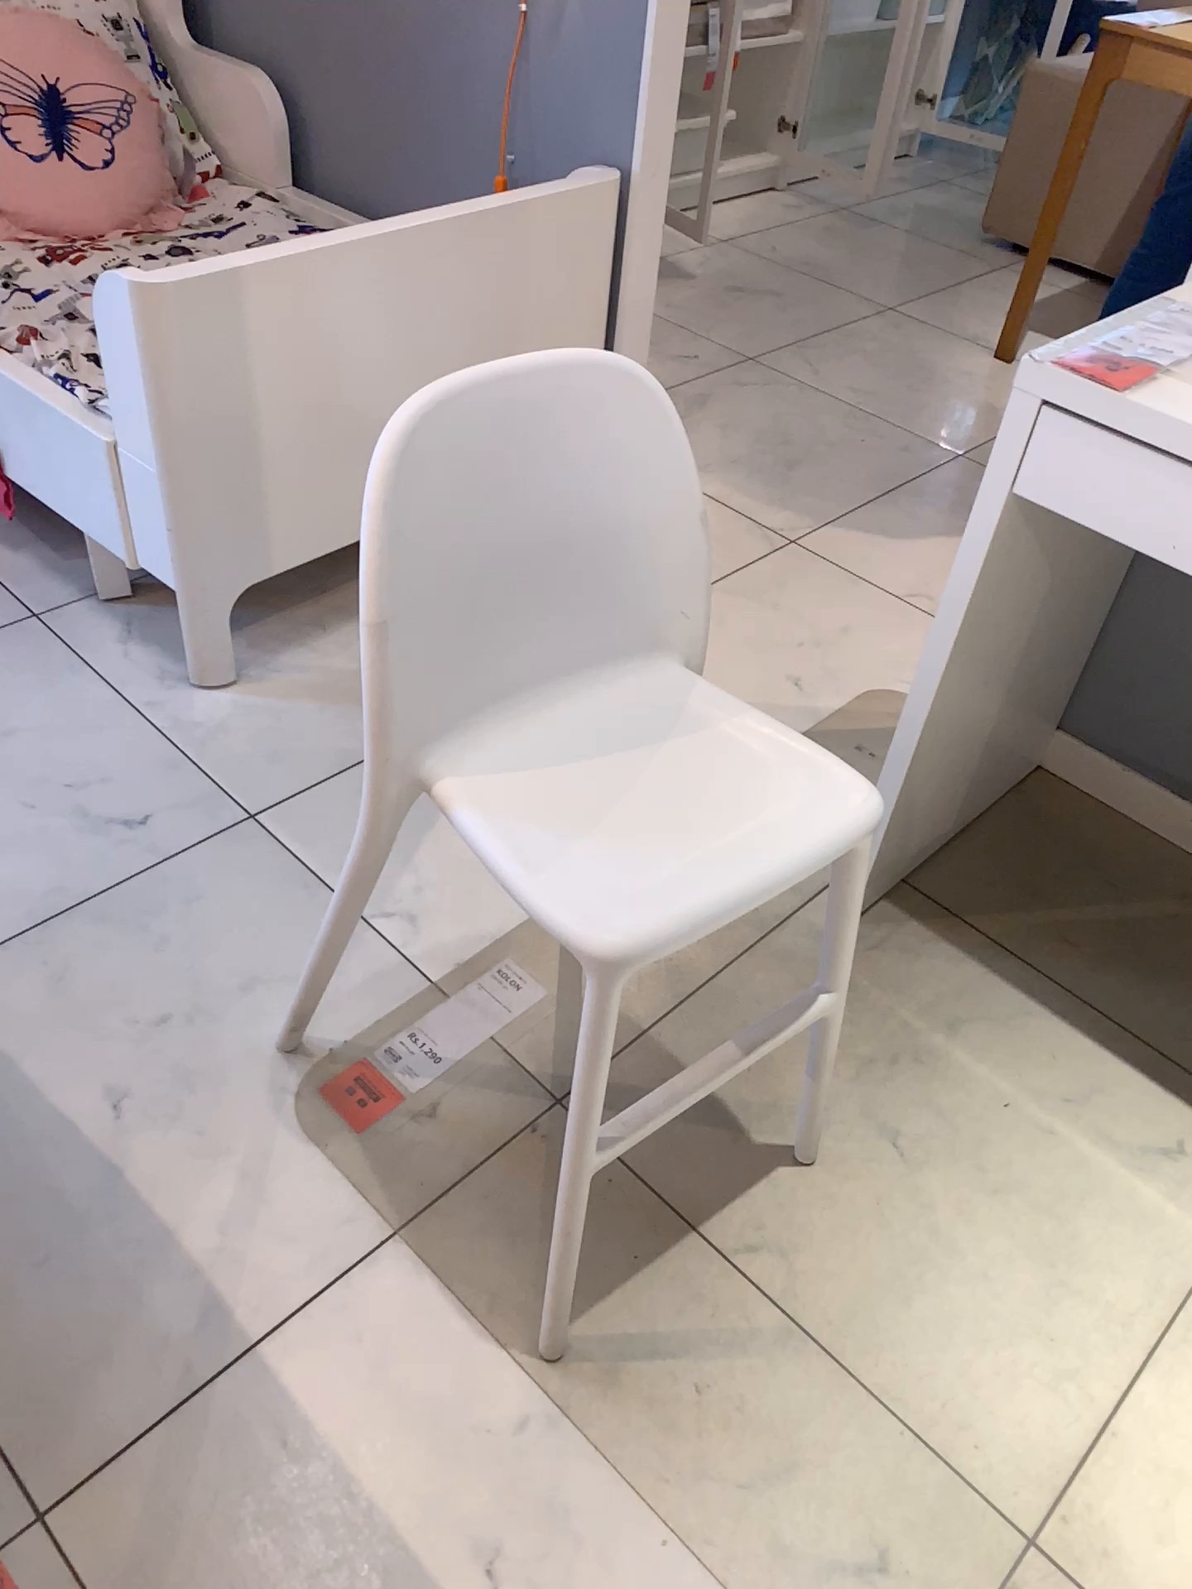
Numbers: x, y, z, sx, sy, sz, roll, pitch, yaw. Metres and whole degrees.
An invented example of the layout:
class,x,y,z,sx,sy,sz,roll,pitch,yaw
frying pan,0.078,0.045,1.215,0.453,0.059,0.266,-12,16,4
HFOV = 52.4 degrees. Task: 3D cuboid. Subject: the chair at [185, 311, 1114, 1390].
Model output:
class,x,y,z,sx,sy,sz,roll,pitch,yaw
chair,-0.005,0.043,1.076,0.431,0.697,0.501,-25,51,-31
